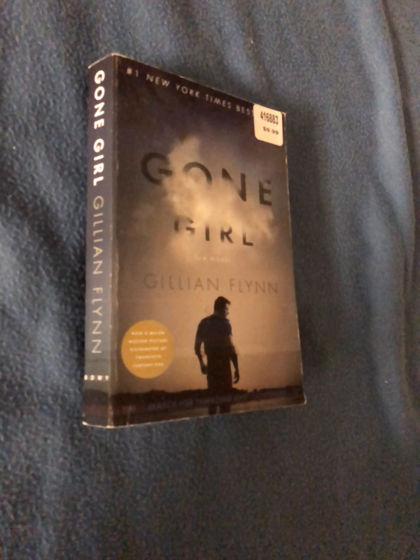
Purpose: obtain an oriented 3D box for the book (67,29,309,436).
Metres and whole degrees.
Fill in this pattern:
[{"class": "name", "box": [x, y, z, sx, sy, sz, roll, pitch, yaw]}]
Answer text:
[{"class": "book", "box": [-0.007, -0.022, 0.278, 0.140, 0.040, 0.200, 4, 82, -35]}]
